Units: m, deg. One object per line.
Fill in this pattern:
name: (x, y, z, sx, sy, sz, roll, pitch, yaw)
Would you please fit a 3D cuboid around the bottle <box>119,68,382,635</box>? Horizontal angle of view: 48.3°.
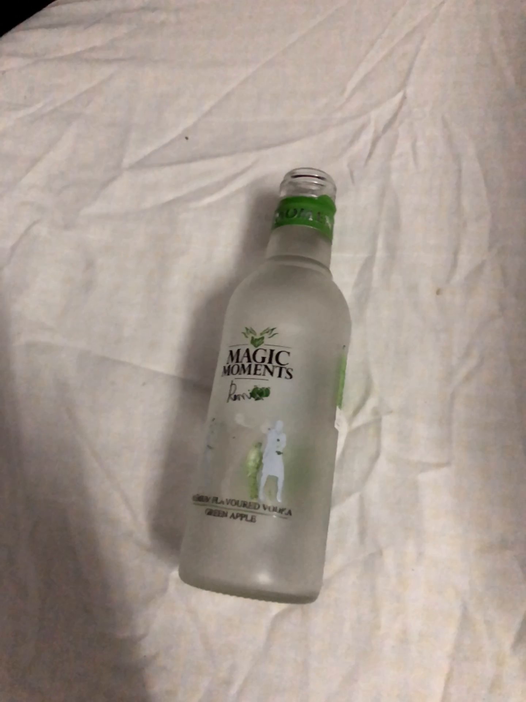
bottle: (0.004, -0.004, 0.216, 0.060, 0.060, 0.180, 4, 77, 15)
